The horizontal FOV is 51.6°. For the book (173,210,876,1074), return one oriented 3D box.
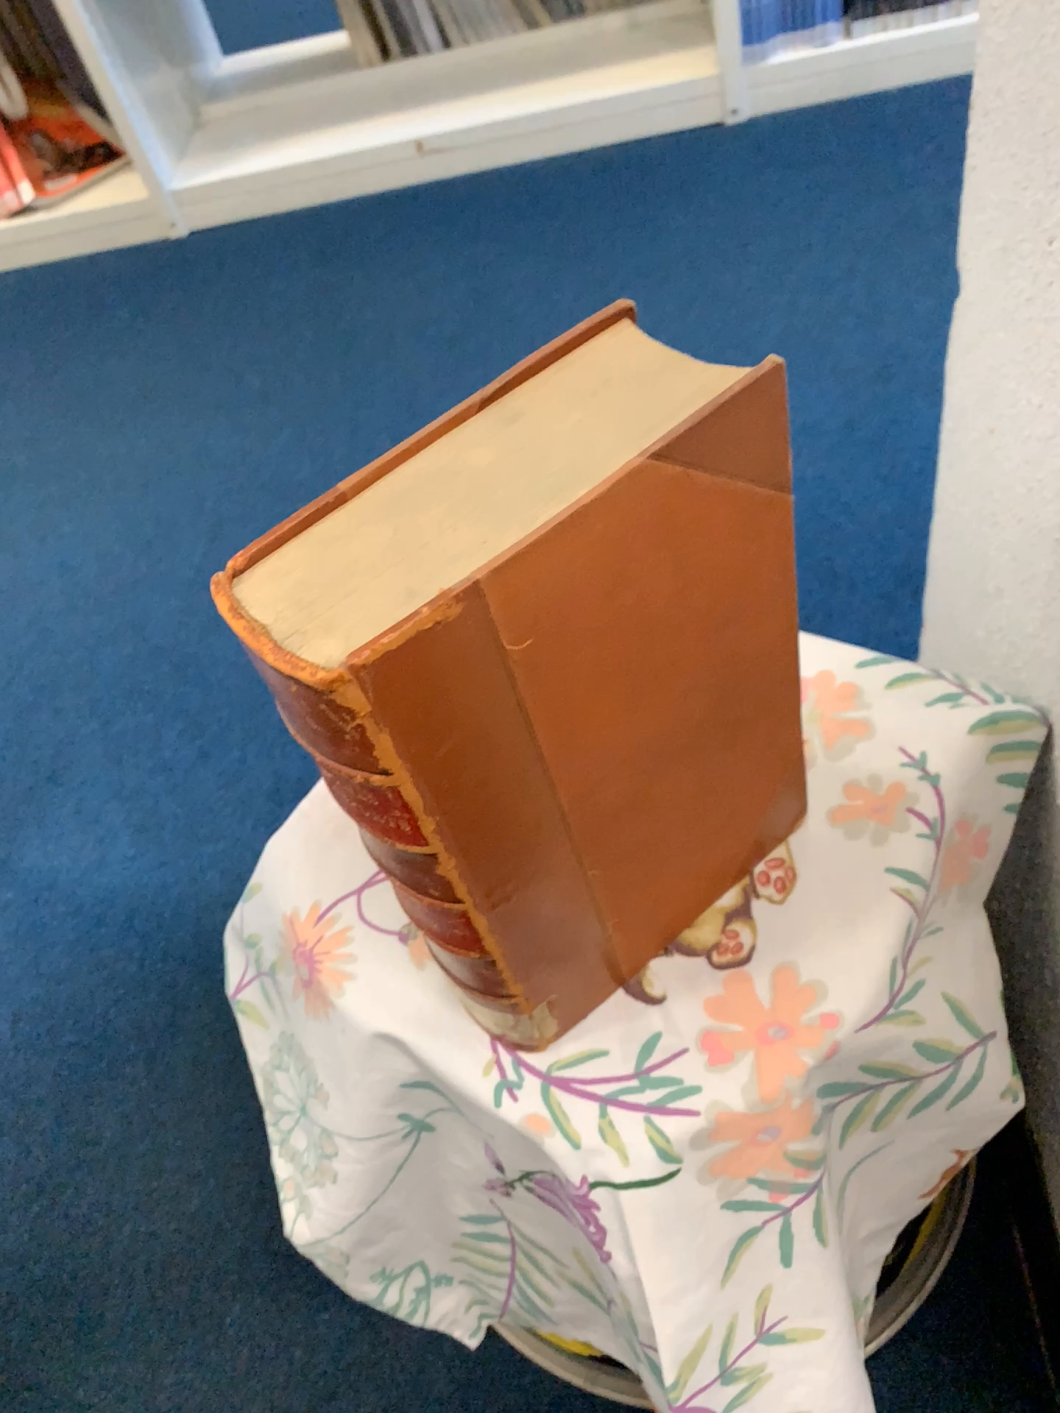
[{"bbox_3d":[0.025,-0.003,0.388,0.190,0.248,0.070,-38,54,-16],"label":"book"}]
